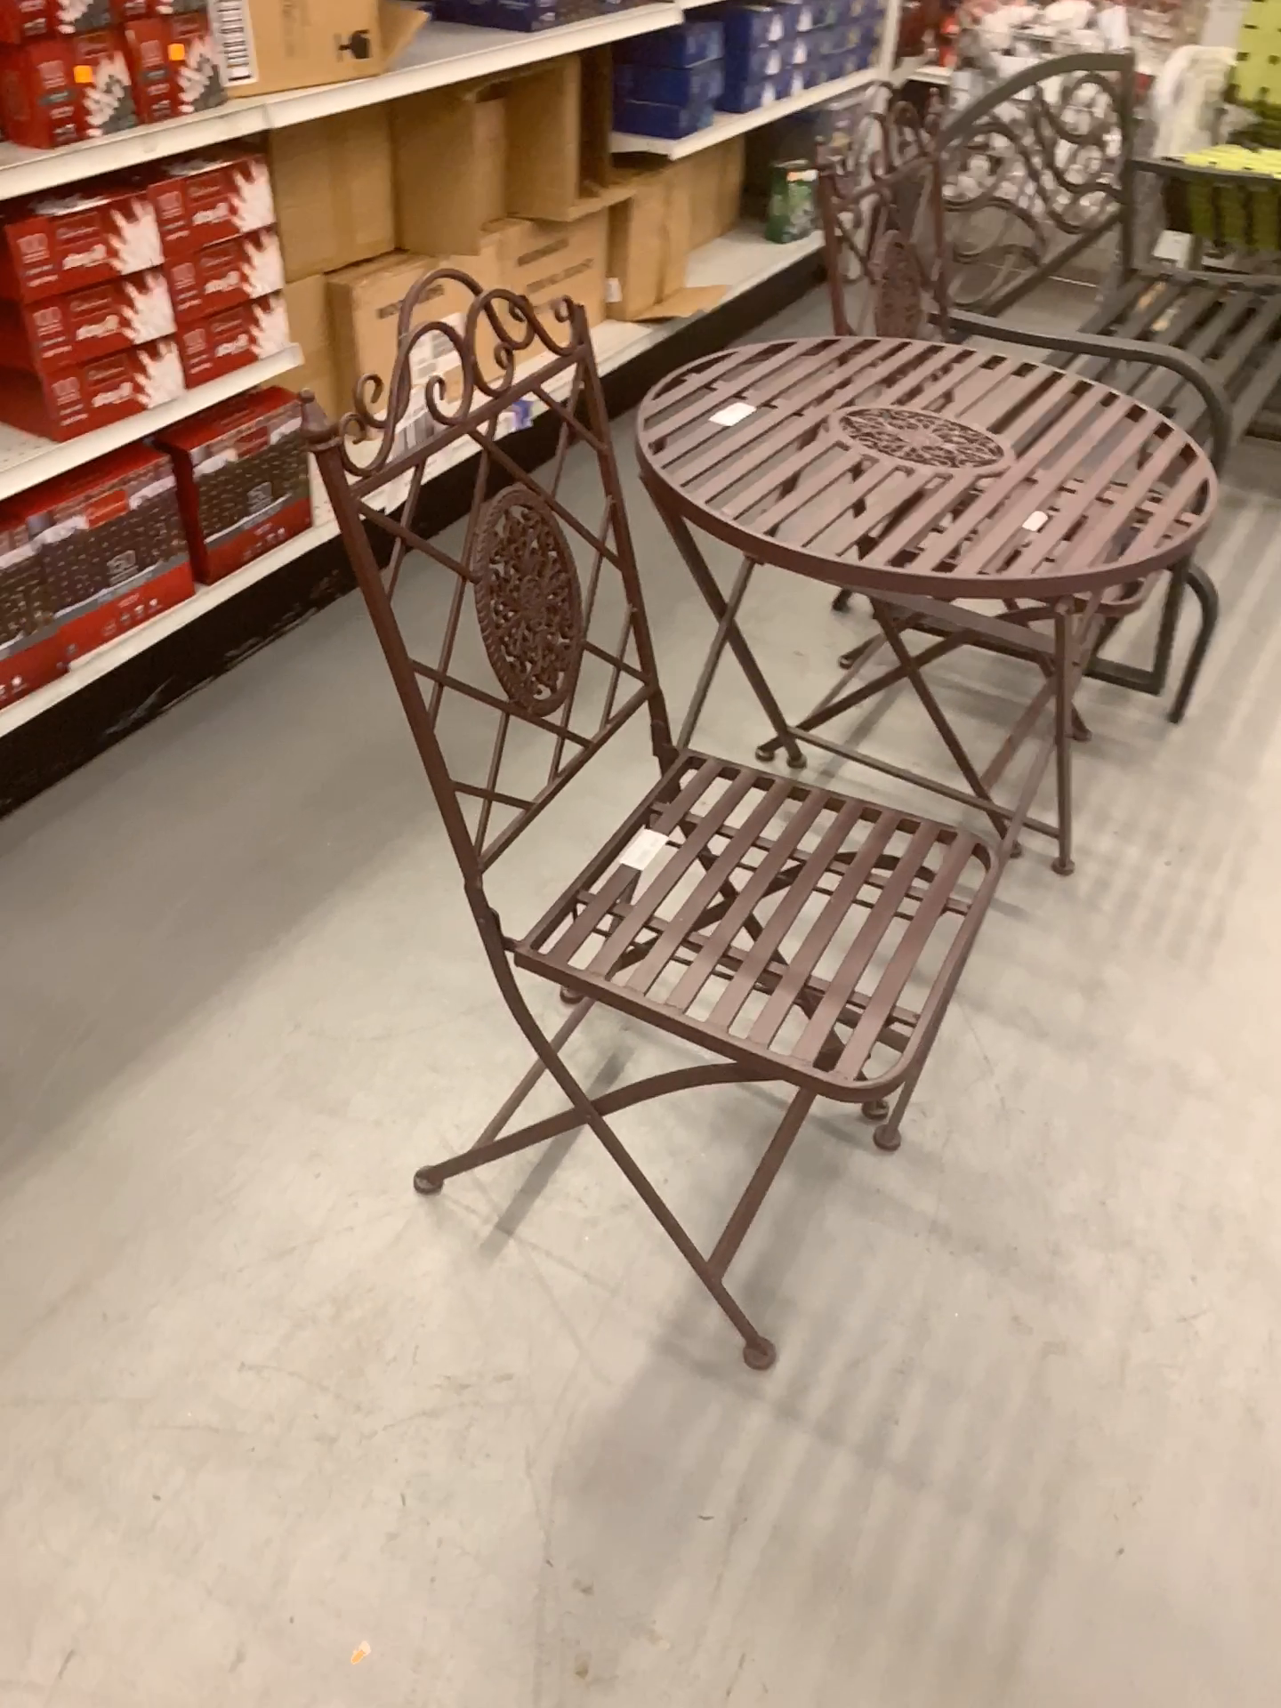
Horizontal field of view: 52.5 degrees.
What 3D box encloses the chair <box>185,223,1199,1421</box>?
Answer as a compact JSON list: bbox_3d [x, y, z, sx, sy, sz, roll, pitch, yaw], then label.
[{"bbox_3d":[0.037,-0.013,1.153,0.564,0.839,0.423,20,43,19],"label":"chair"}]
